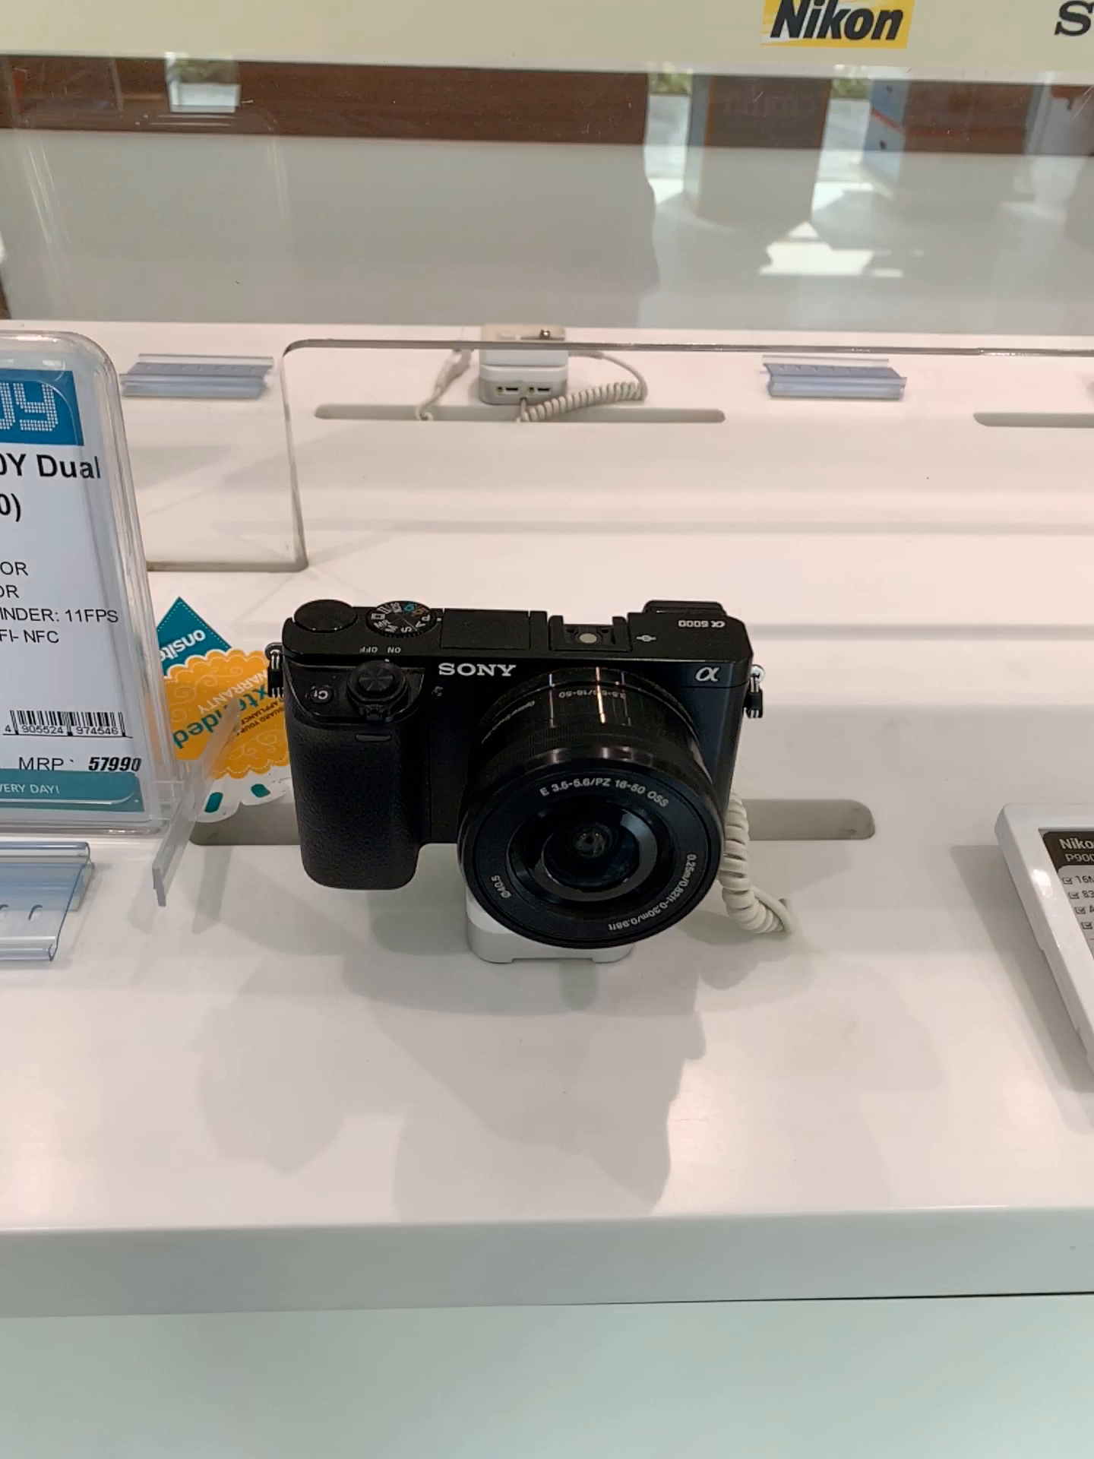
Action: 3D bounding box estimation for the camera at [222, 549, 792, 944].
[{"bbox_3d":[-0.008,0.003,0.248,0.104,0.063,0.059,1,39,-2],"label":"camera"}]
